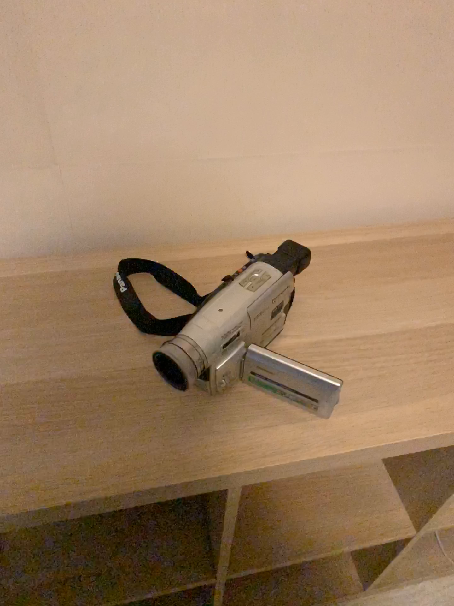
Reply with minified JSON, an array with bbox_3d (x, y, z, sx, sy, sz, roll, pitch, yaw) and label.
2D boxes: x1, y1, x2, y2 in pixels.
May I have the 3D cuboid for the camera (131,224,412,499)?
[{"bbox_3d":[0.055,0.043,0.536,0.203,0.109,0.247,29,48,25],"label":"camera"}]
